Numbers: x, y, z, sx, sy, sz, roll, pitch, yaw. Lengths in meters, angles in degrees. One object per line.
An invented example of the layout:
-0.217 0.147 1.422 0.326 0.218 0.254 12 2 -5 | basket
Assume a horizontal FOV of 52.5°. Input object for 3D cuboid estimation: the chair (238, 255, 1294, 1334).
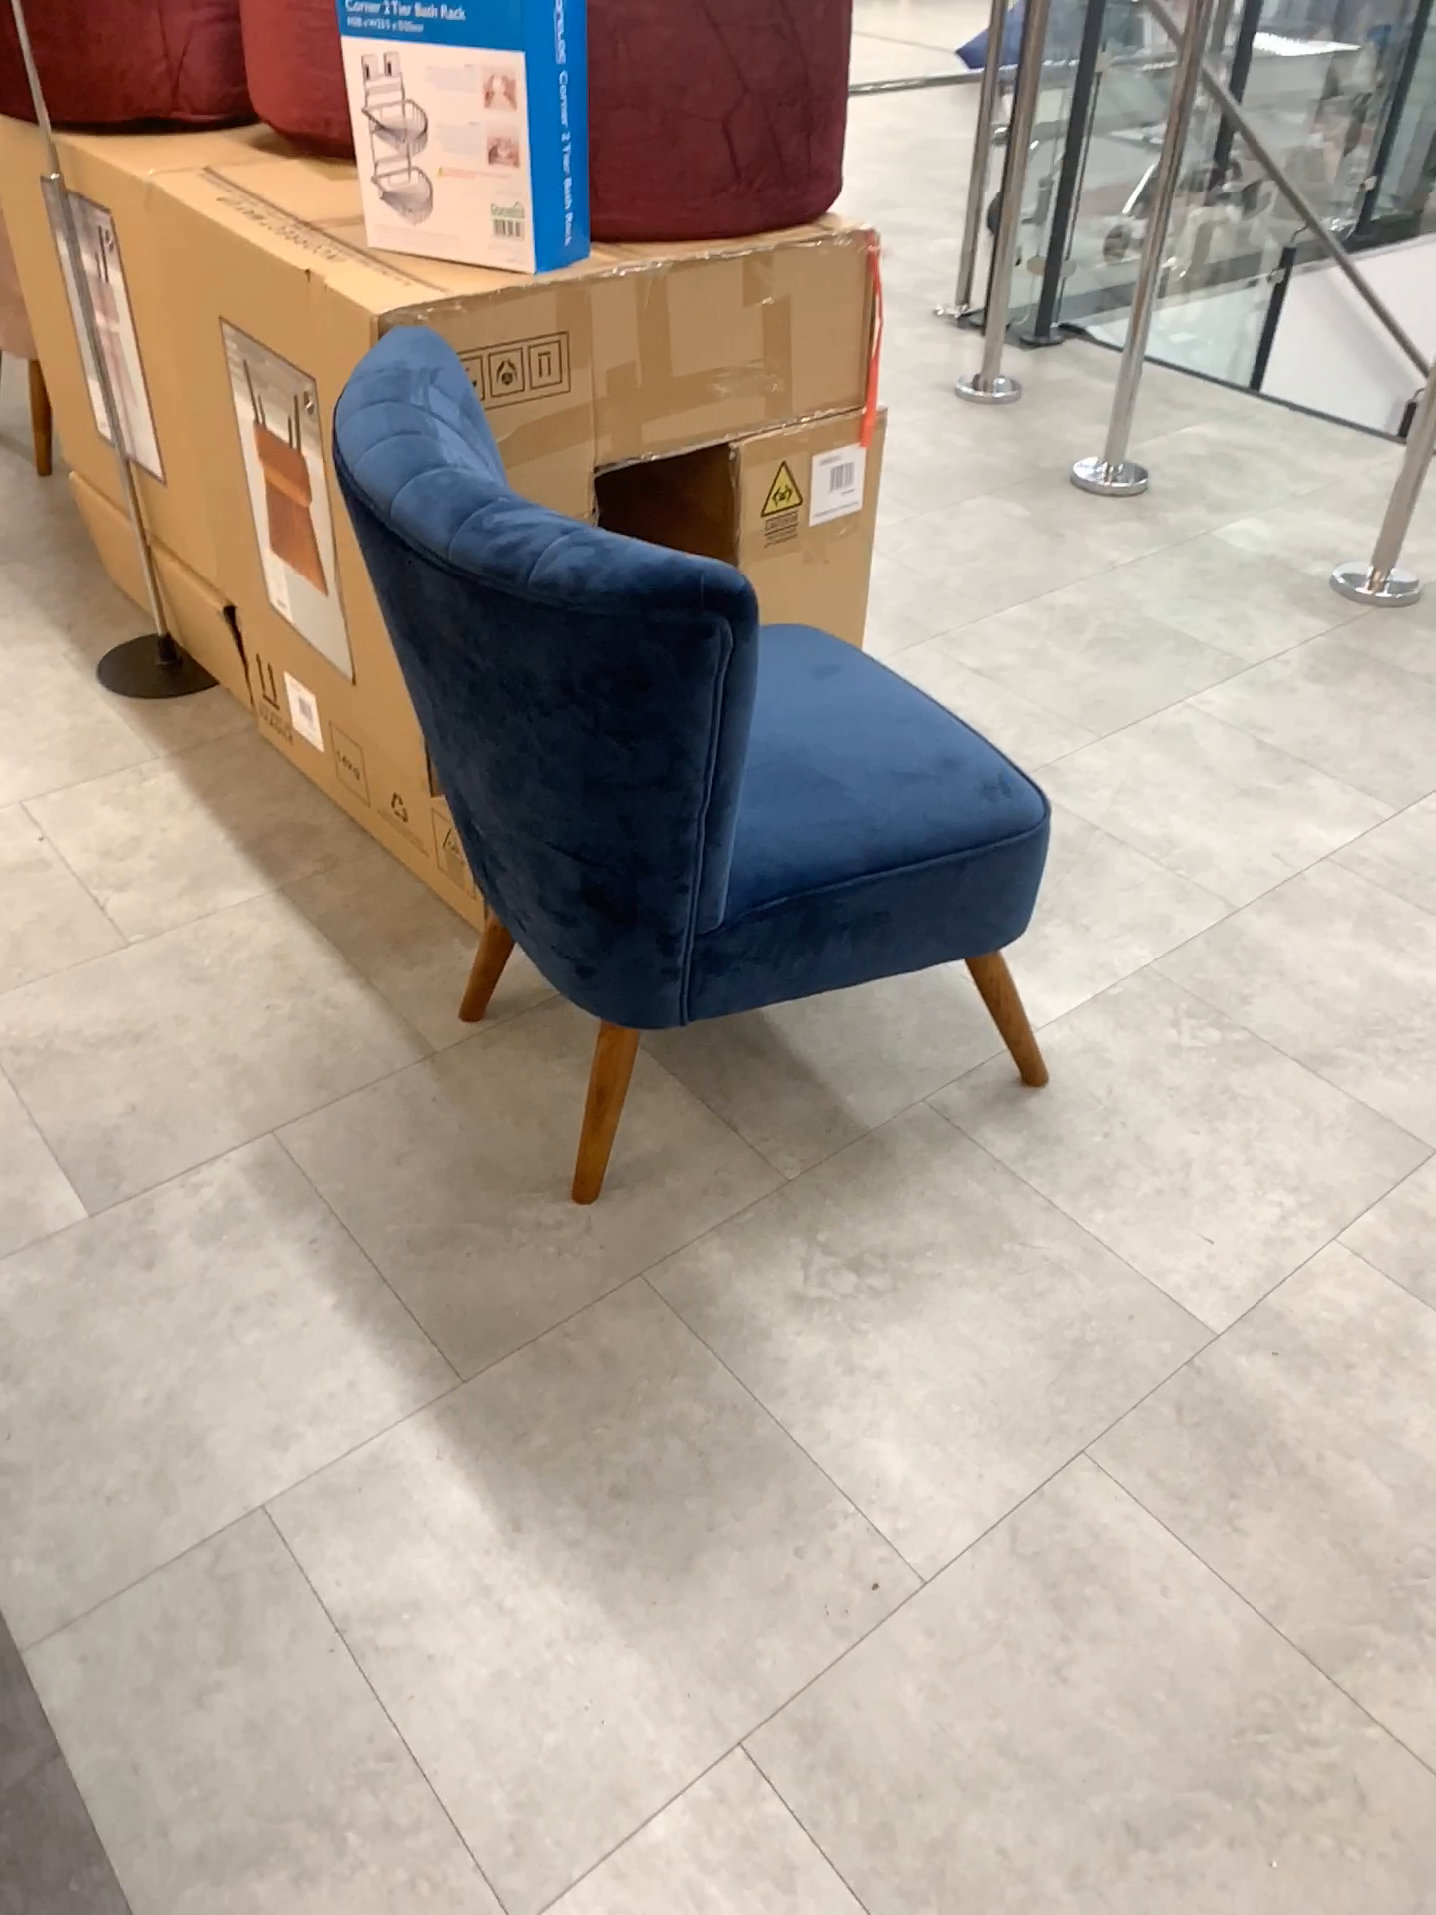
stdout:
0.006 -0.241 1.638 0.728 0.789 0.734 -21 44 -26 | chair
